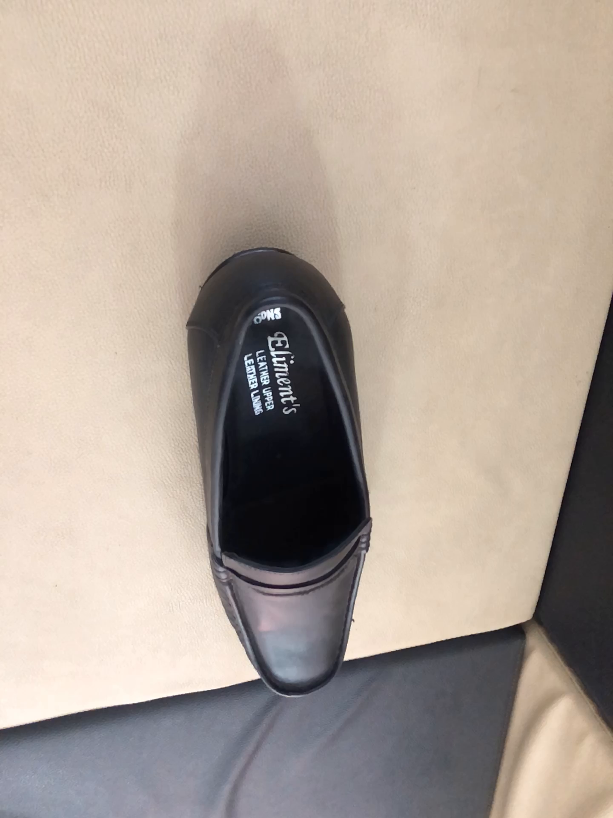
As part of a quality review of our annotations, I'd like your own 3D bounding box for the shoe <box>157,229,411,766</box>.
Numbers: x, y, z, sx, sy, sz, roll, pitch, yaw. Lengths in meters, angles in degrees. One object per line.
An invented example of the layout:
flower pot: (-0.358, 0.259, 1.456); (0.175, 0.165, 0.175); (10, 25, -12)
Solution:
shoe: (-0.010, 0.060, 0.374); (0.100, 0.080, 0.291); (-8, 120, -10)
